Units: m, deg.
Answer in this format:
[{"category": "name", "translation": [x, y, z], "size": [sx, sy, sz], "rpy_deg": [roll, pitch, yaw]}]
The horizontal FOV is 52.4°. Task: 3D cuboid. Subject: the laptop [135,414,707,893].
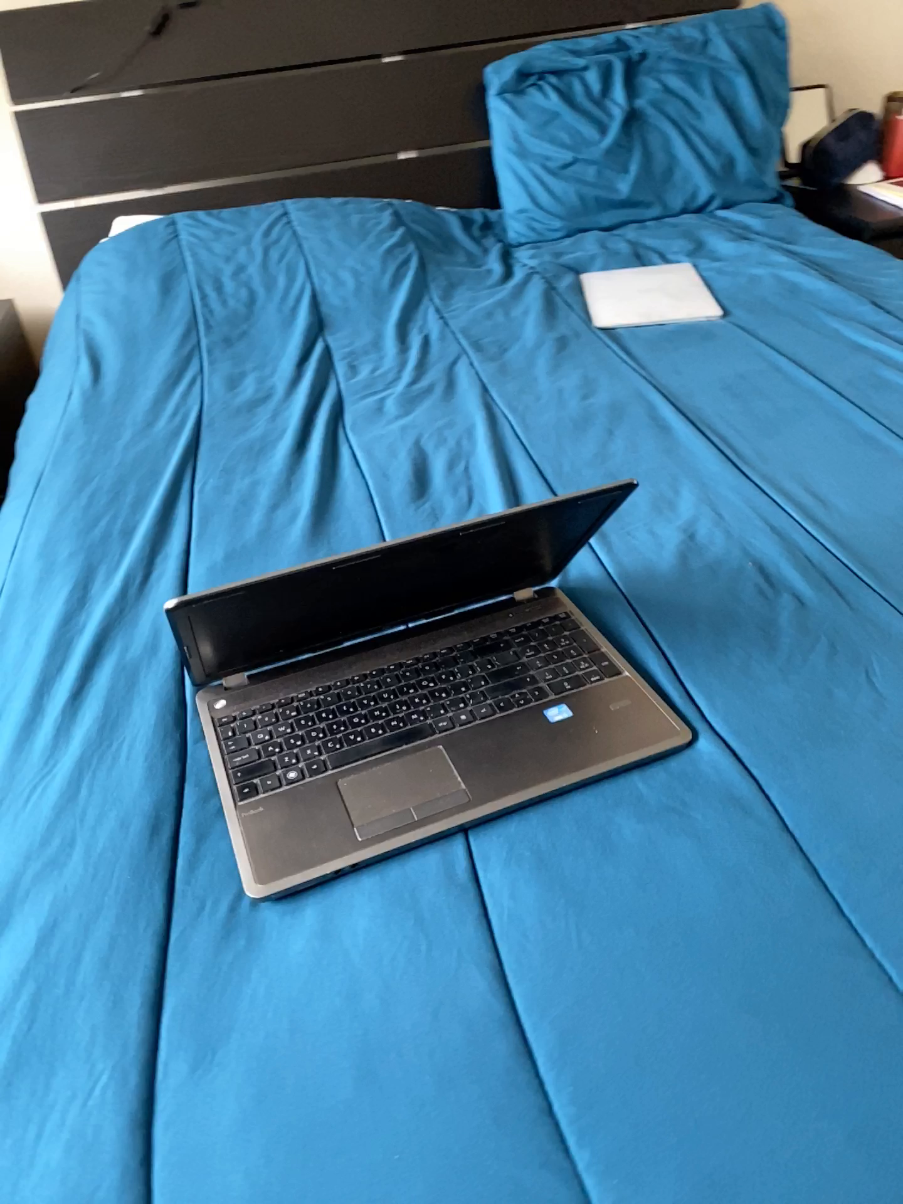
[{"category": "laptop", "translation": [-0.031, 0.018, 0.751], "size": [0.369, 0.192, 0.256], "rpy_deg": [-16, 35, -15]}]
